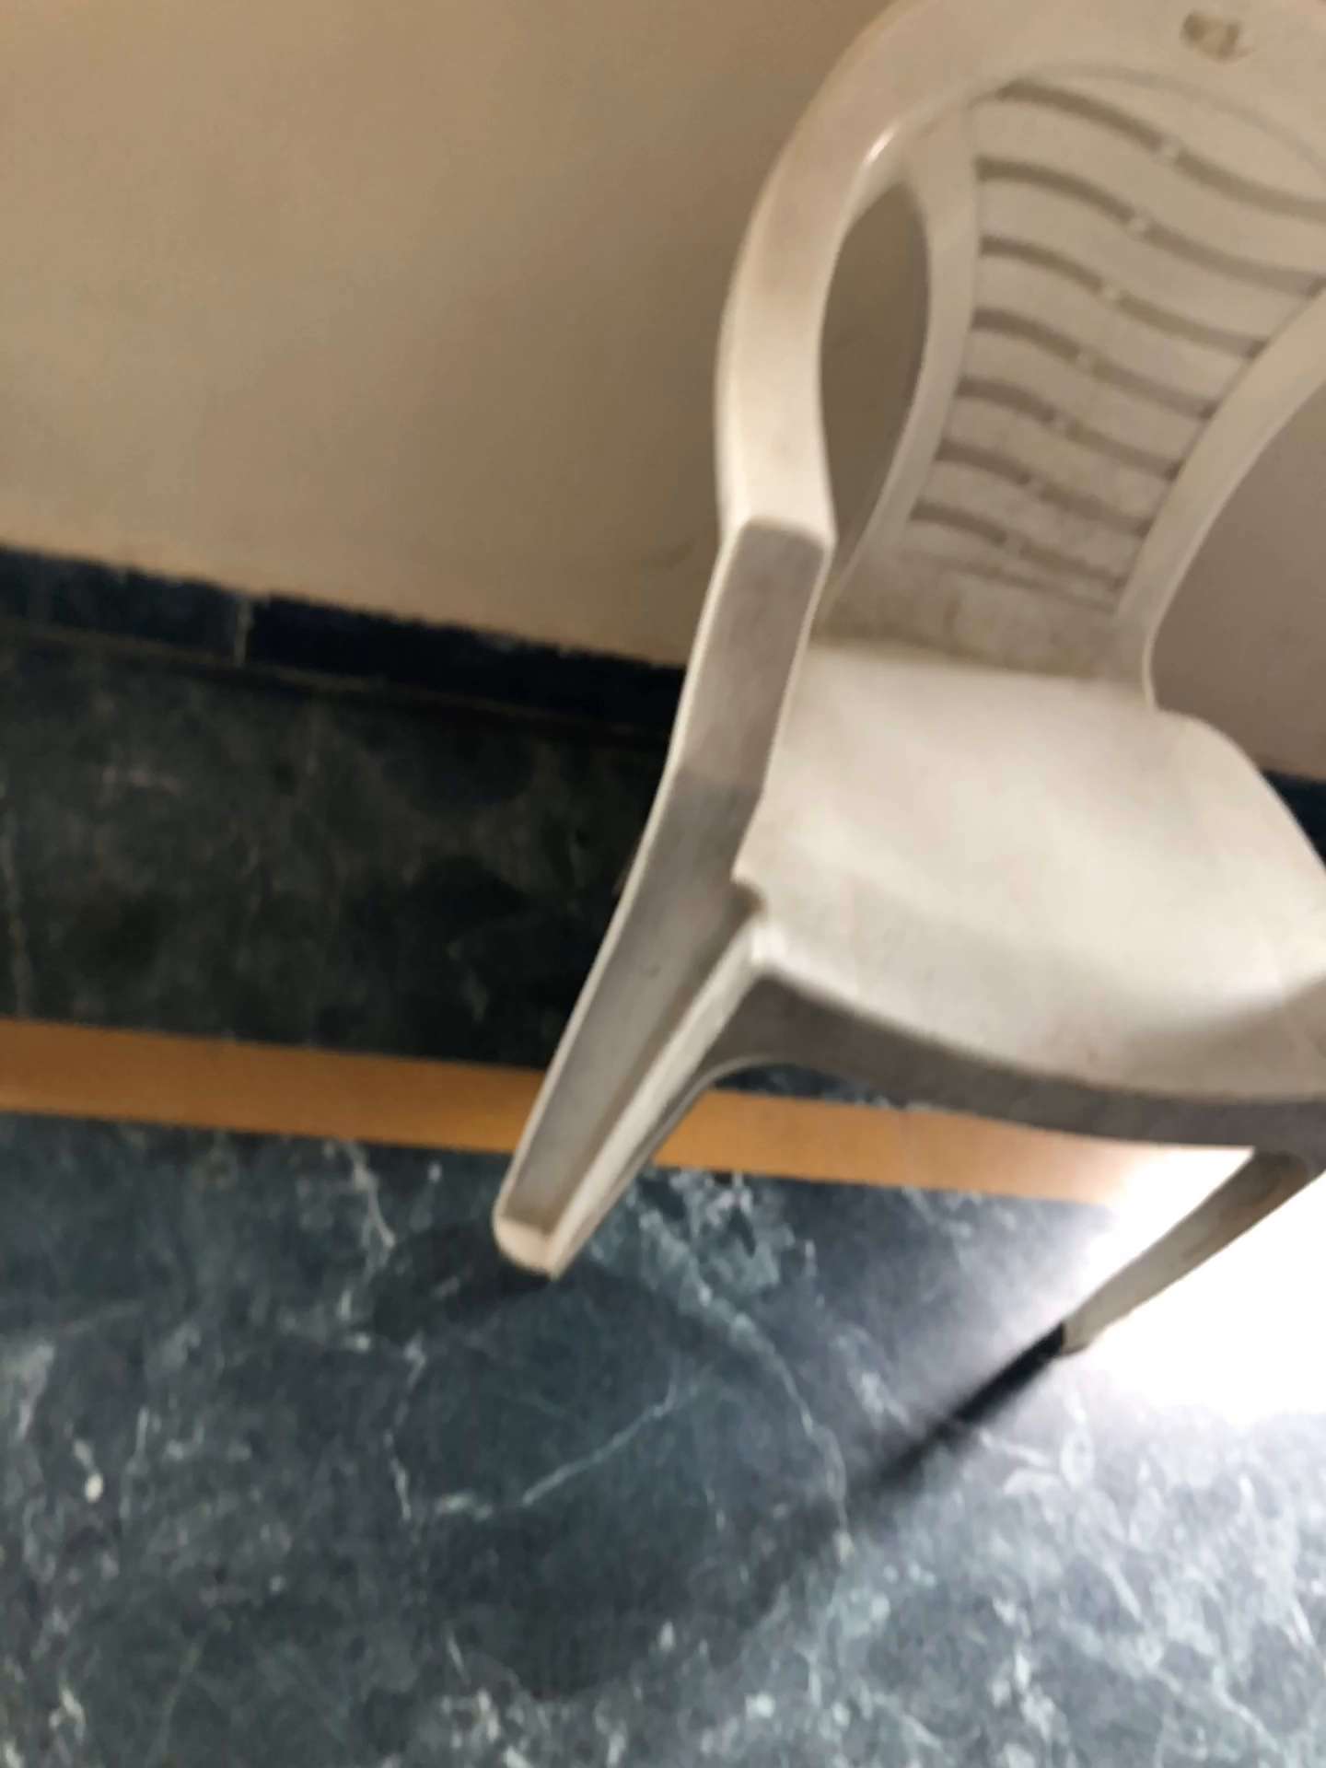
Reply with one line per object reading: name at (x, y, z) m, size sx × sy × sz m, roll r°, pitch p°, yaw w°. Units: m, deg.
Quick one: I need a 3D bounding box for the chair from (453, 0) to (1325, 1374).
chair at (0.228, -0.134, 1.013) m, size 0.581 × 0.774 × 0.623 m, roll 9°, pitch 49°, yaw -14°
